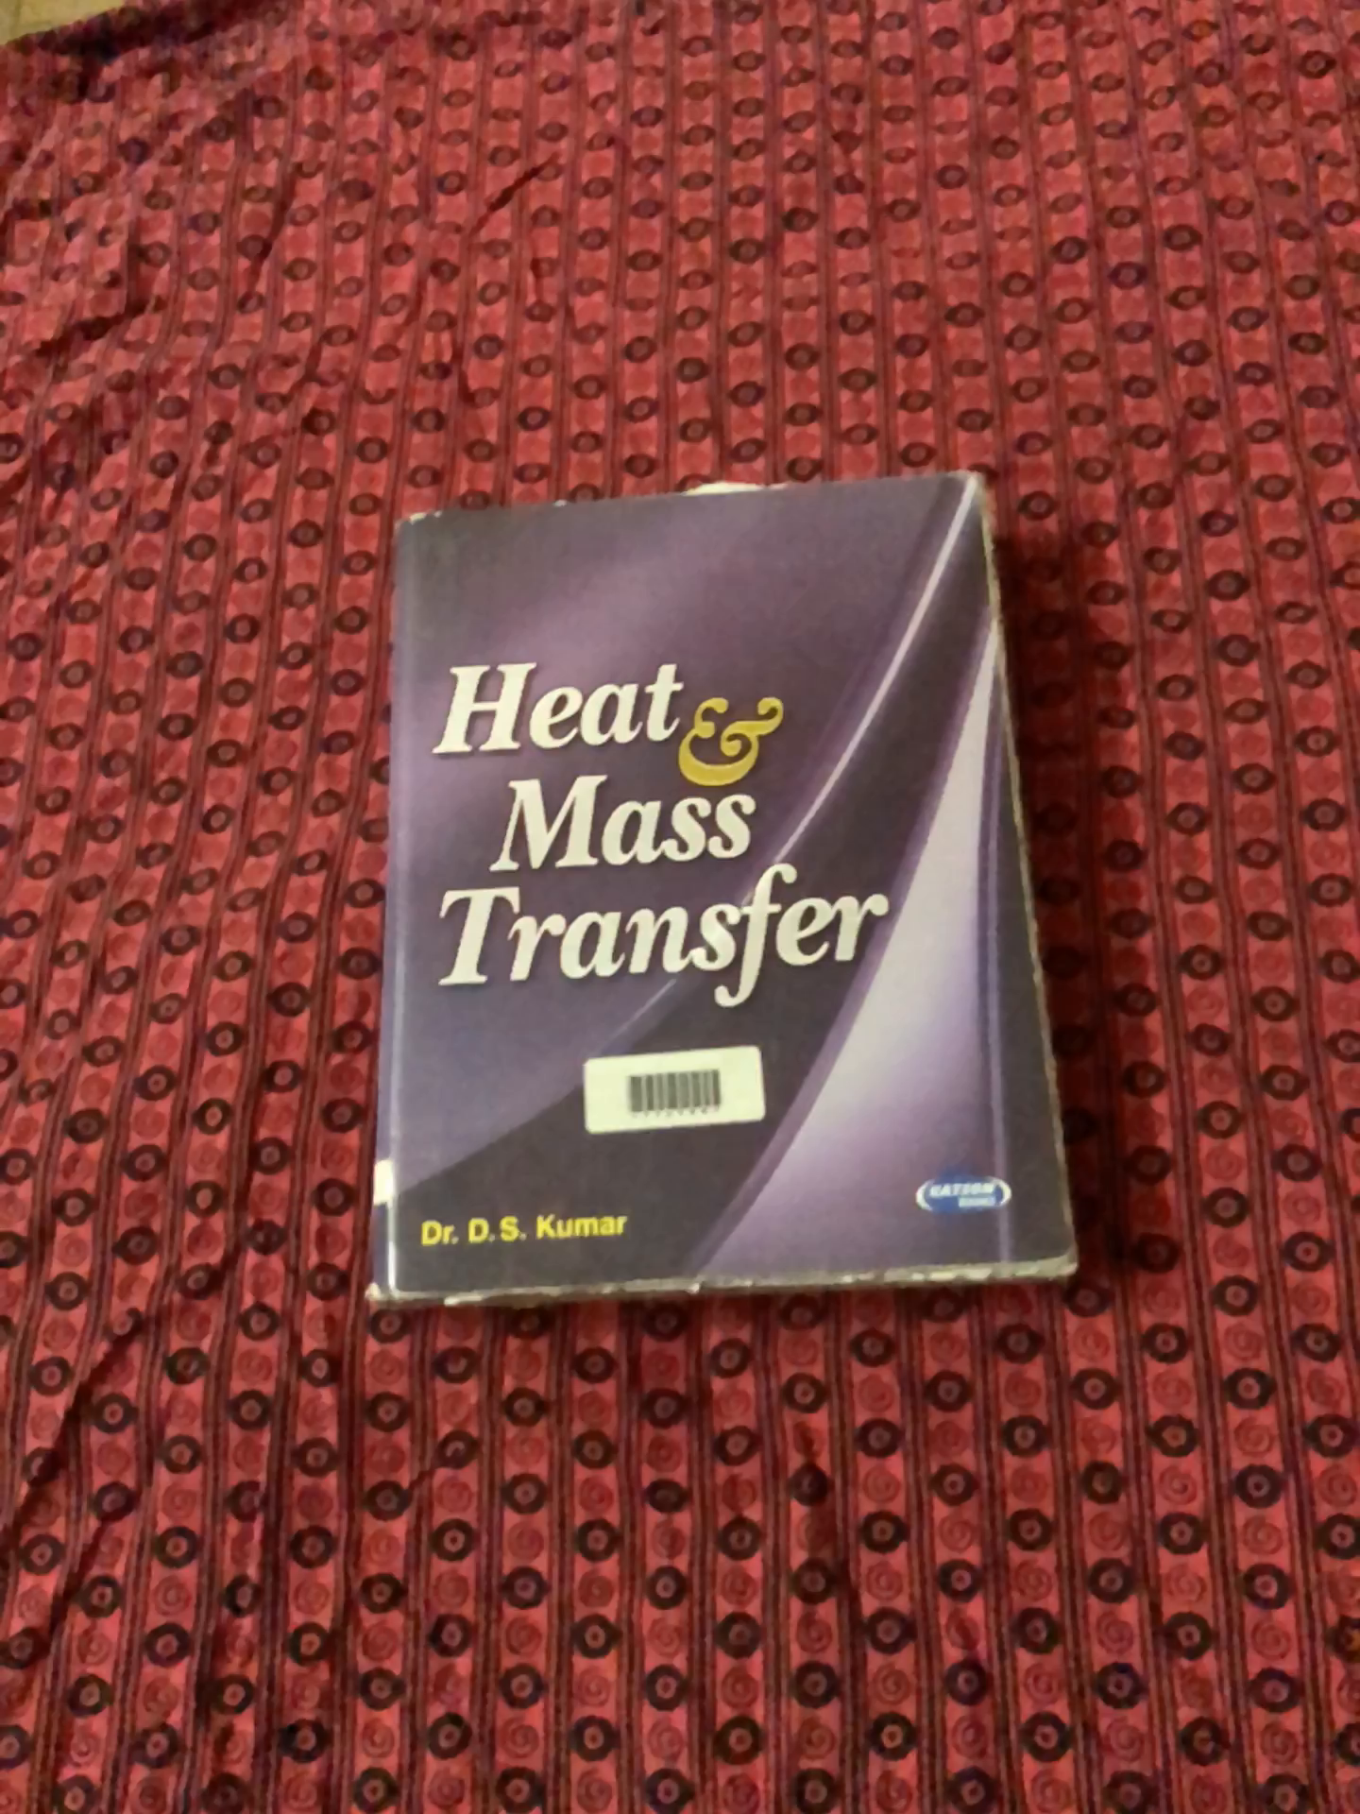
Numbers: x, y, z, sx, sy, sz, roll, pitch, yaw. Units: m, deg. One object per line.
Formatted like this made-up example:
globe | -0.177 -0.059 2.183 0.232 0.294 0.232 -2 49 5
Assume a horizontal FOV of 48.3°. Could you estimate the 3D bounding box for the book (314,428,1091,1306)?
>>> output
book | 0.002 -0.012 0.383 0.170 0.040 0.211 -3 71 5
